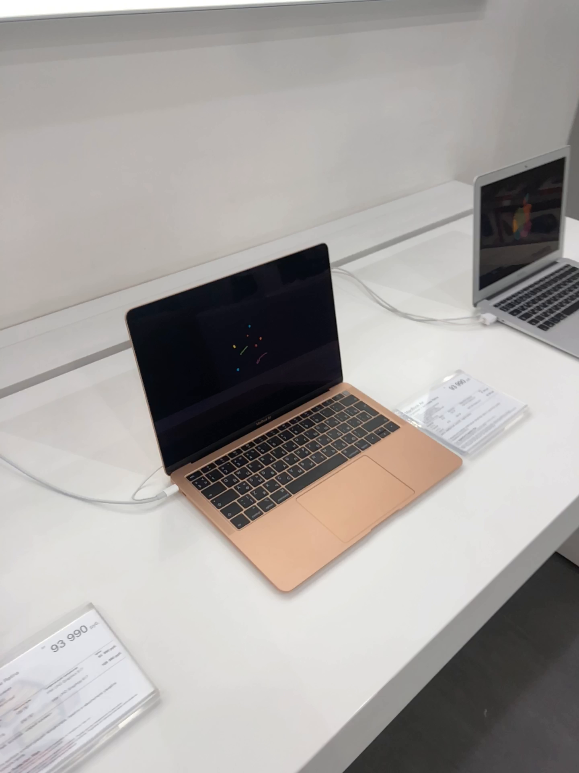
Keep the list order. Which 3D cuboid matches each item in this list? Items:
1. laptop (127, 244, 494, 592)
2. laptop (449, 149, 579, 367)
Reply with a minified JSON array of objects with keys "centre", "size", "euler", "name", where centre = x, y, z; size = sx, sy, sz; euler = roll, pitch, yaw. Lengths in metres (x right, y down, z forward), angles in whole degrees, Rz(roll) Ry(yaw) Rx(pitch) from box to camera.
[{"centre":[0.020,0.007,0.731],"size":[0.298,0.188,0.264],"euler":[-26,45,-34],"name":"laptop"},{"centre":[0.514,-0.249,1.117],"size":[0.364,0.209,0.283],"euler":[-26,45,-36],"name":"laptop"}]
